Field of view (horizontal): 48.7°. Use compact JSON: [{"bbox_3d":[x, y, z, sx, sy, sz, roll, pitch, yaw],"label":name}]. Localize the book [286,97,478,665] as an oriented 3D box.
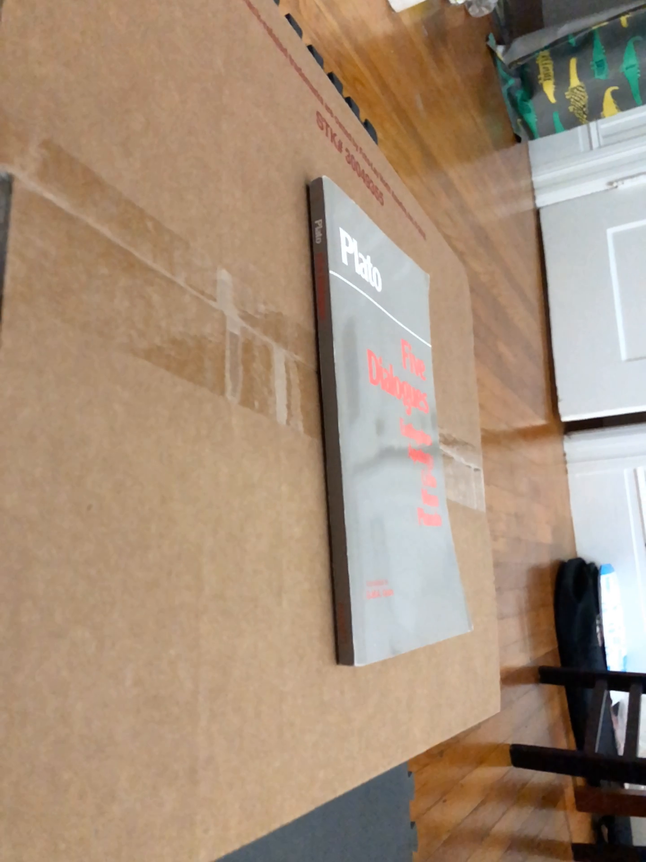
[{"bbox_3d":[0.033,-0.016,0.334,0.141,0.020,0.220,16,67,-61],"label":"book"}]
